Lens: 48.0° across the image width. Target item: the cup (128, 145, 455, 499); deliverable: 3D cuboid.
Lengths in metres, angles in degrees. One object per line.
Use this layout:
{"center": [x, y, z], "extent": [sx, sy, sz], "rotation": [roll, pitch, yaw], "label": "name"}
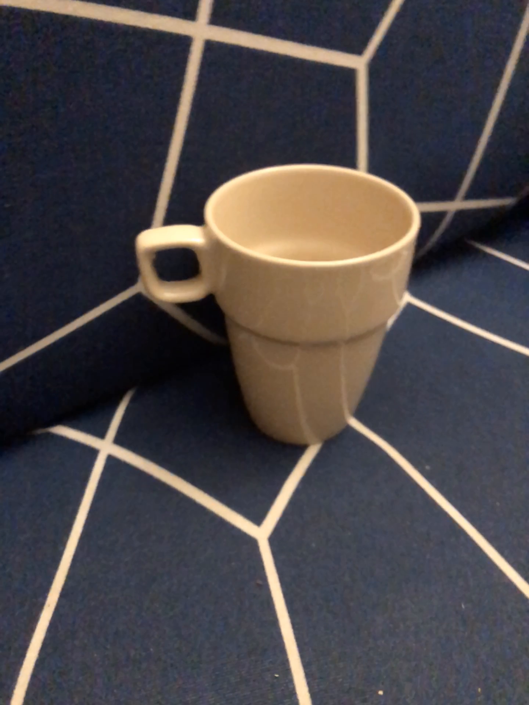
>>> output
{"center": [0.004, -0.015, 0.255], "extent": [0.104, 0.109, 0.091], "rotation": [-6, 39, -6], "label": "cup"}
